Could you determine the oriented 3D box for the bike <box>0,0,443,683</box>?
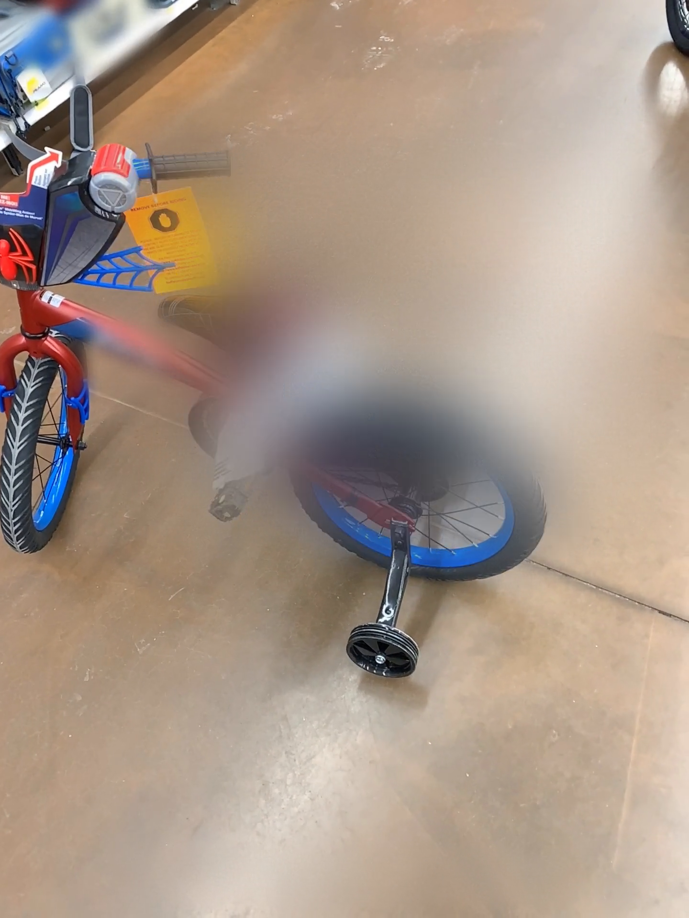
[{"bbox_3d":[-0.225,-0.100,0.812,0.565,0.709,0.477,1,53,11],"label":"bike"}]
